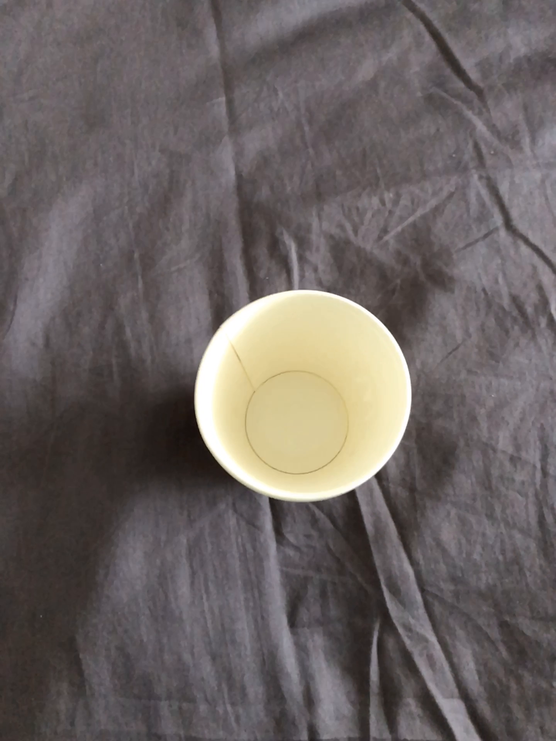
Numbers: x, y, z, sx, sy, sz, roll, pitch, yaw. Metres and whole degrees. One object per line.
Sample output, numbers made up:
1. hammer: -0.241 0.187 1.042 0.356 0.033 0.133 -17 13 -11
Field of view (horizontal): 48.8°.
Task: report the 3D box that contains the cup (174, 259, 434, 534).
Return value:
1. cup: 0.008 0.018 0.294 0.098 0.101 0.107 0 78 0
